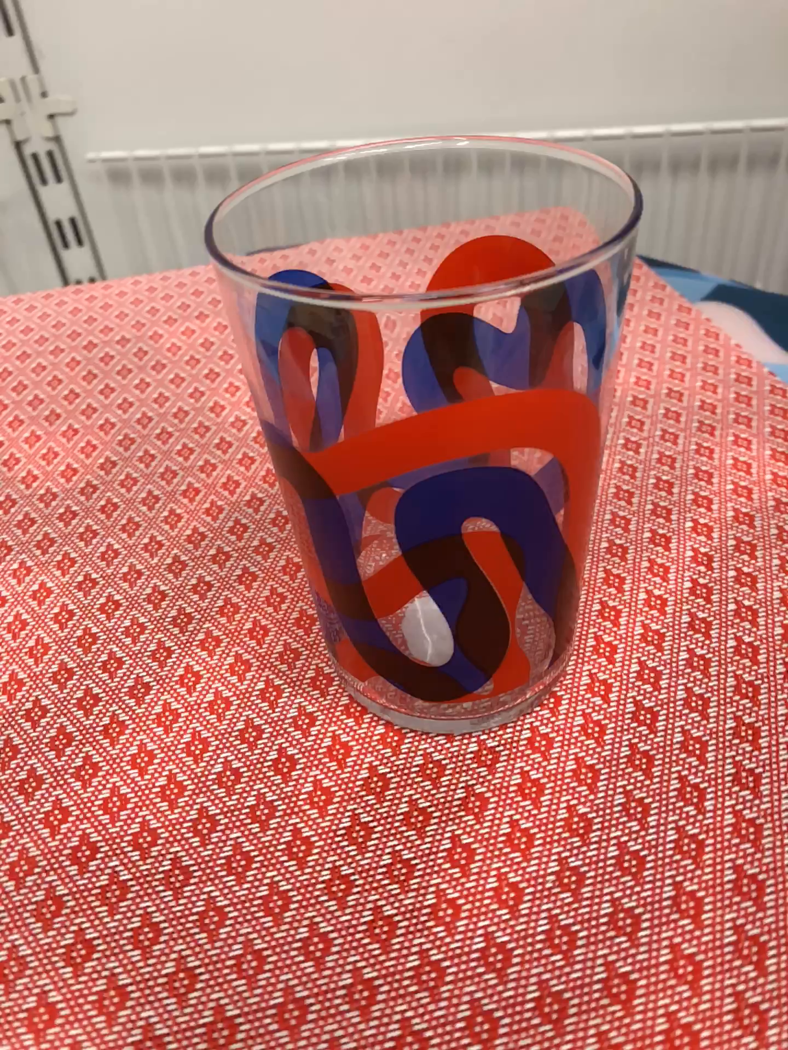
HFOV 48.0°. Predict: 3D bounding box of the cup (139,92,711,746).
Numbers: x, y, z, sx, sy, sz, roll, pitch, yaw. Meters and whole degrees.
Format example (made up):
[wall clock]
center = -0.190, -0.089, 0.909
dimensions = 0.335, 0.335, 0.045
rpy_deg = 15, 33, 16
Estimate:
[cup]
center = 0.014, -0.023, 0.210
dimensions = 0.090, 0.120, 0.090
rpy_deg = -4, 39, 3
